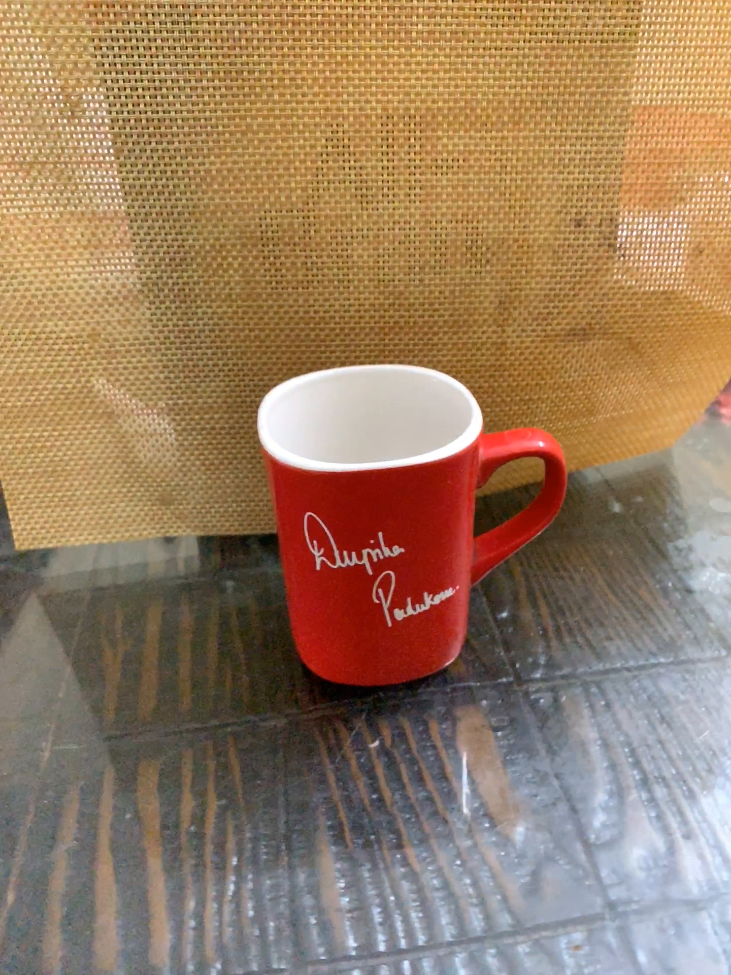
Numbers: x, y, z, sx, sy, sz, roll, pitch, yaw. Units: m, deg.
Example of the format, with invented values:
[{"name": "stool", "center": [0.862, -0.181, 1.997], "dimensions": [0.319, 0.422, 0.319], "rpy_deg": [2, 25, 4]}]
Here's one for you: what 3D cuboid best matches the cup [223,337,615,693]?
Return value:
[{"name": "cup", "center": [0.013, 0.006, 0.245], "dimensions": [0.100, 0.079, 0.071], "rpy_deg": [-5, 32, -2]}]
